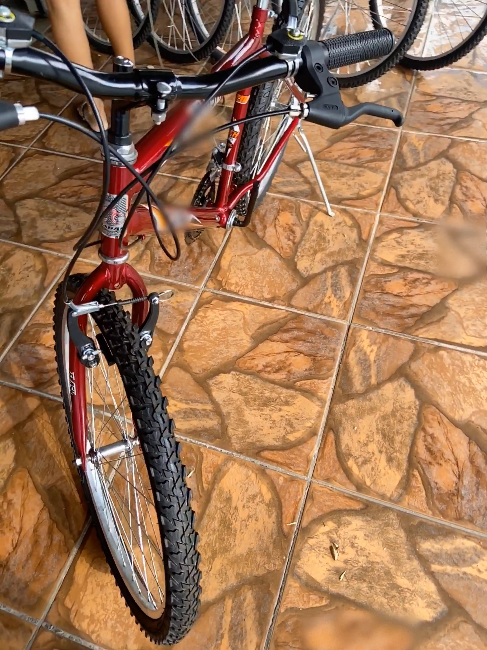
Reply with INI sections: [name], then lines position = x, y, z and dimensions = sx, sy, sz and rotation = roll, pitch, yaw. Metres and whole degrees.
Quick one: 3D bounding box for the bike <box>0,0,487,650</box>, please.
[bike]
position = 0.088, -0.274, 0.998
dimensions = 0.598, 0.987, 1.562
rotation = 7, 59, 12
